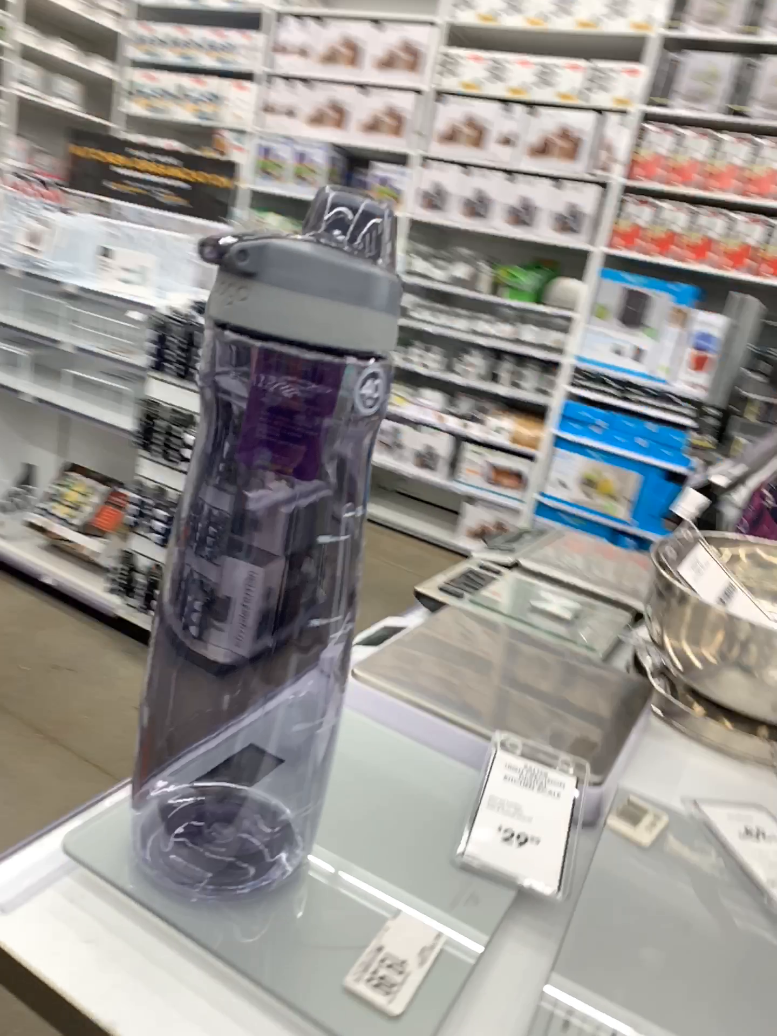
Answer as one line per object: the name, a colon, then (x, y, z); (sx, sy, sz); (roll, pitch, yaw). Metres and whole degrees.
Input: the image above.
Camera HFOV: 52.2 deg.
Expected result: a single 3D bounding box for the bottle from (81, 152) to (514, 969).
bottle: (-0.048, 0.019, 0.352); (0.100, 0.309, 0.100); (11, 17, -3)
